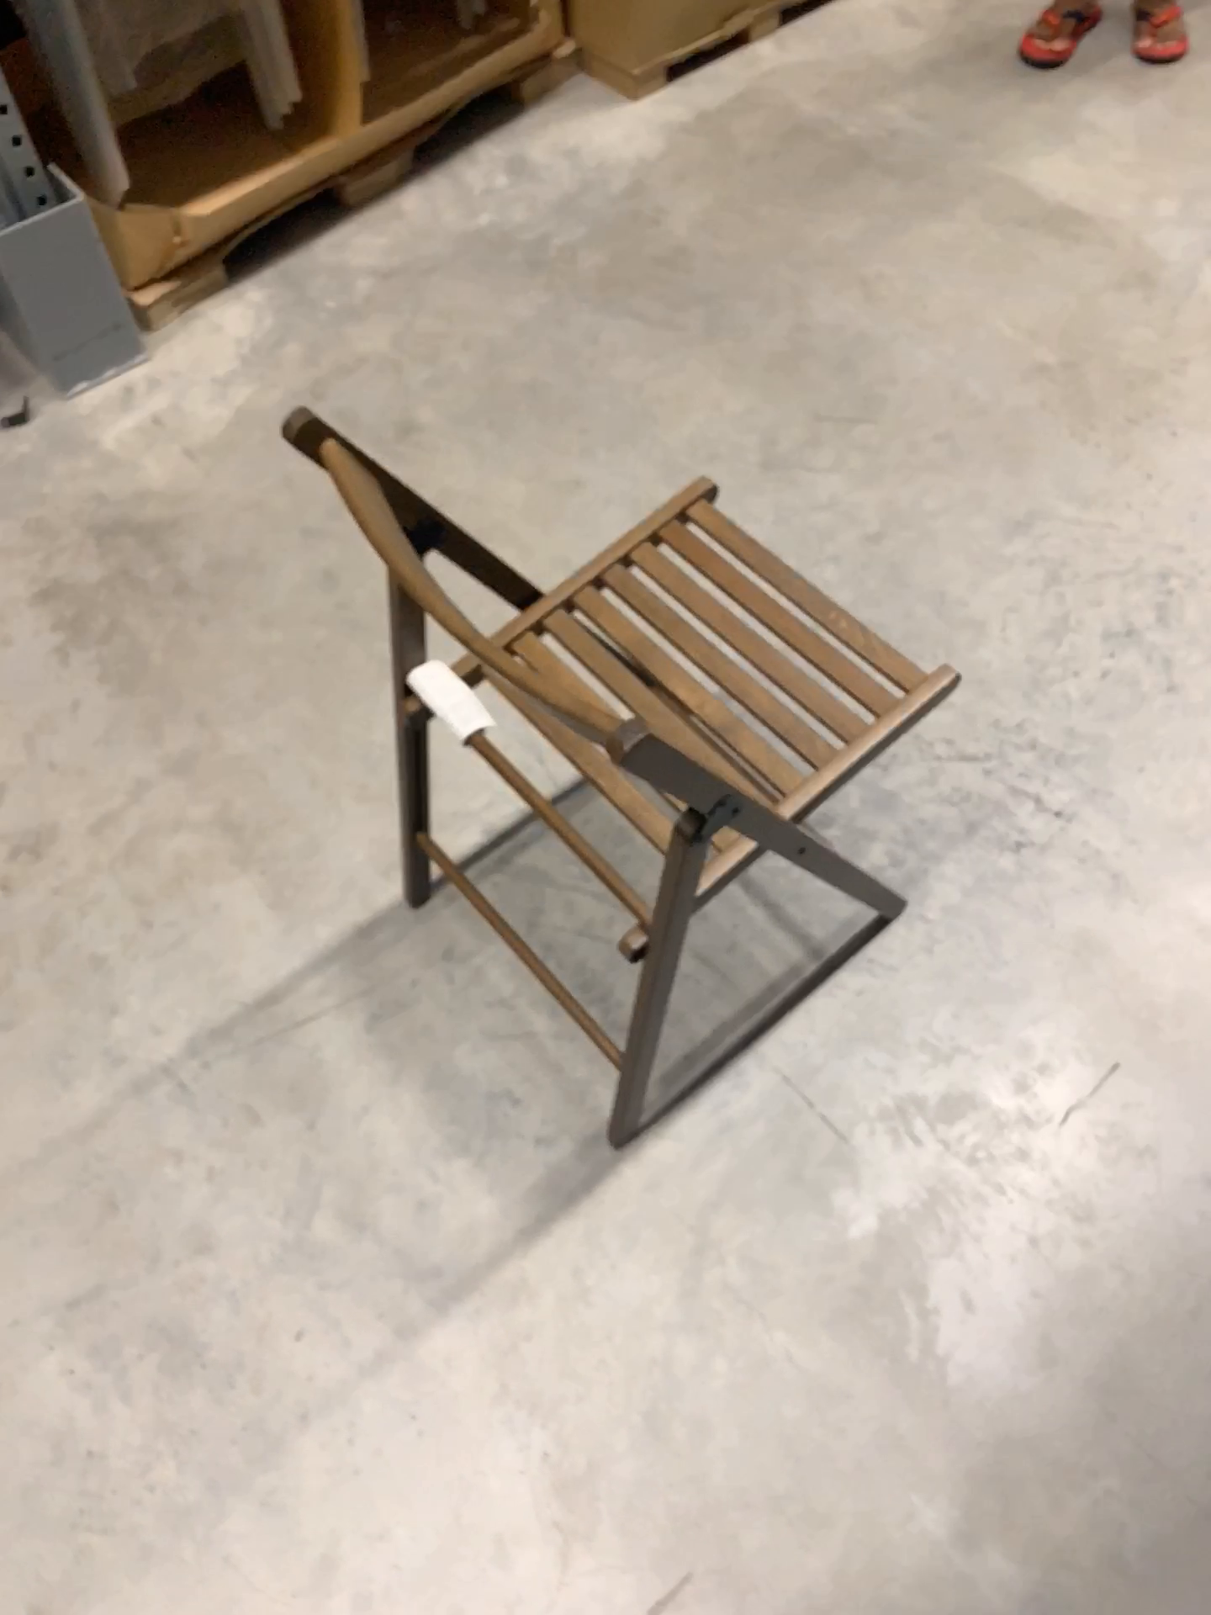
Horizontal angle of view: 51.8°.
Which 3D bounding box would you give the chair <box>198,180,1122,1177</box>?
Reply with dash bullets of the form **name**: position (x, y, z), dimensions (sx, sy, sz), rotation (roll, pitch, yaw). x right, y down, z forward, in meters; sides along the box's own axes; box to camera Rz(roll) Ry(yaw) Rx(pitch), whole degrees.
- **chair**: position (0.045, -0.085, 1.228), dimensions (0.500, 0.698, 0.481), rotation (-36, 62, -19)
